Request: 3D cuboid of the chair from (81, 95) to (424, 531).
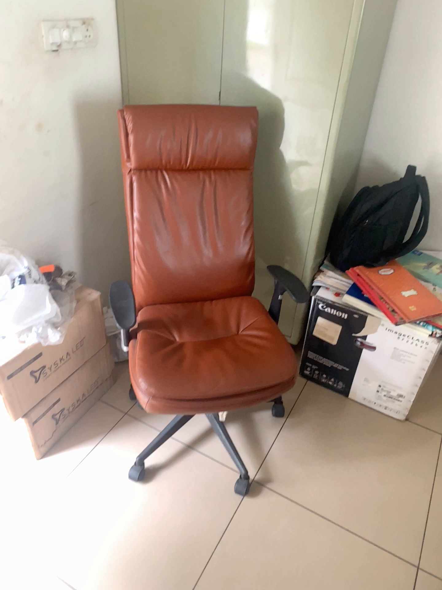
[{"bbox_3d":[-0.045,0.001,1.544,0.690,1.085,0.934,-5,37,-12],"label":"chair"}]
